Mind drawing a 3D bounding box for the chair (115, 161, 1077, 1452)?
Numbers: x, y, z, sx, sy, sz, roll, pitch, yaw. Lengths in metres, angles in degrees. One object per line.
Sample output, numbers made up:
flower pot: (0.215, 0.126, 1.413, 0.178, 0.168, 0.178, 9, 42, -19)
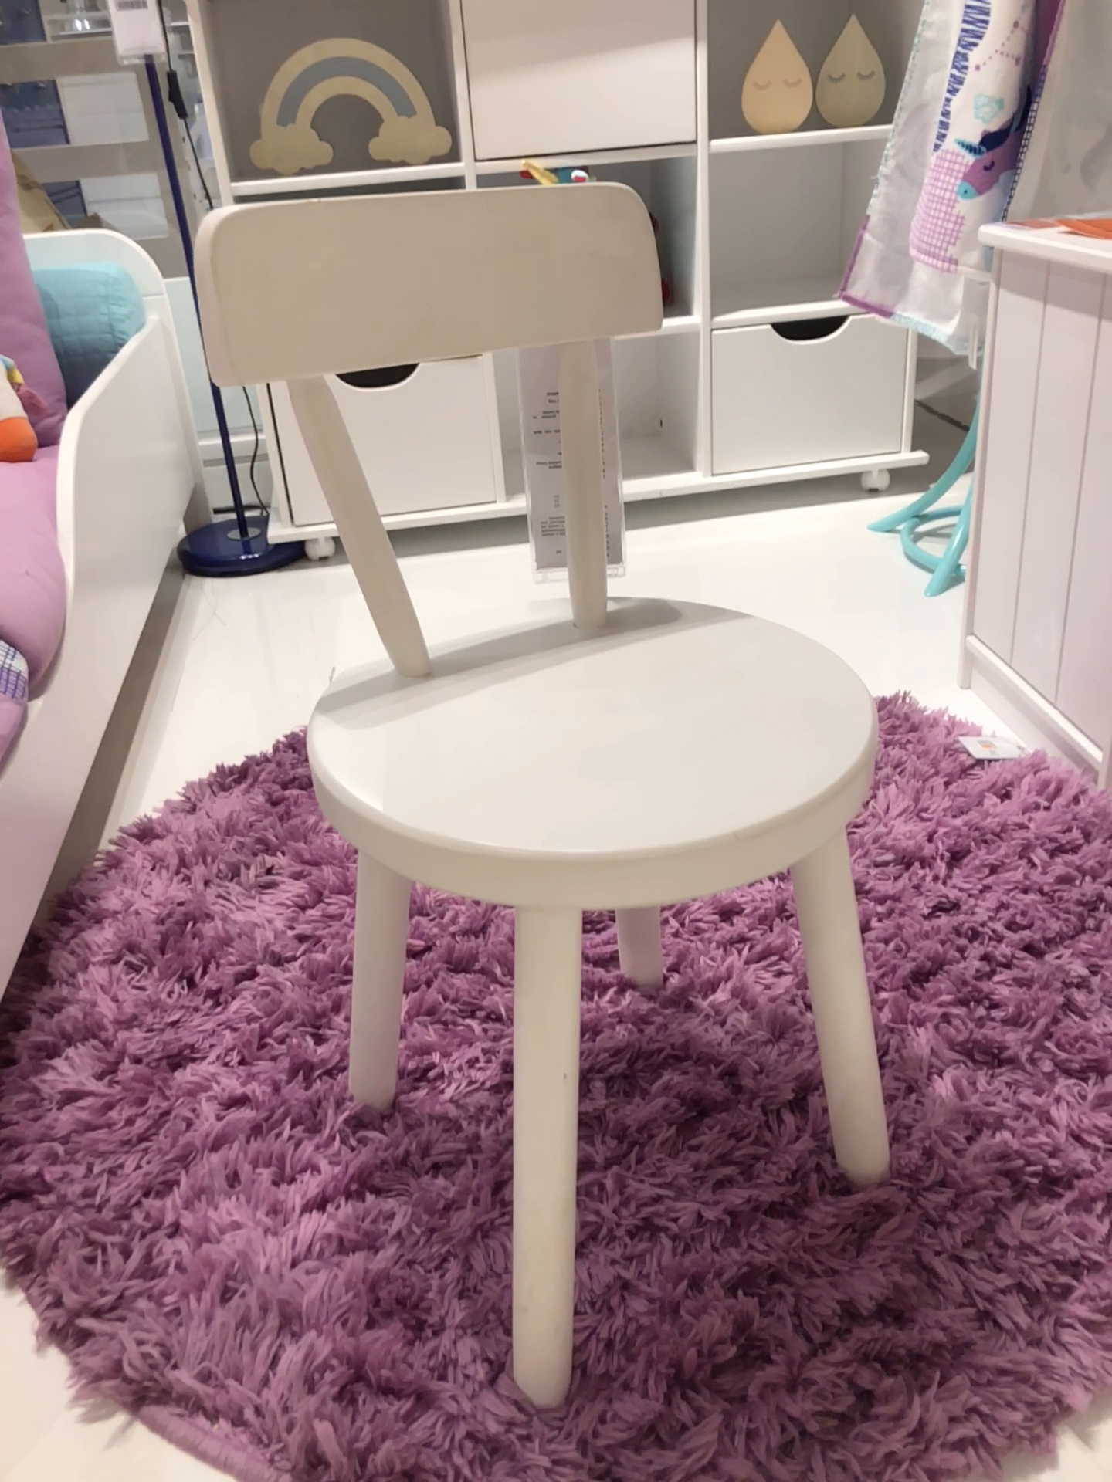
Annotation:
chair: (0.020, 0.007, 0.688, 0.321, 0.576, 0.312, -20, 31, -26)
